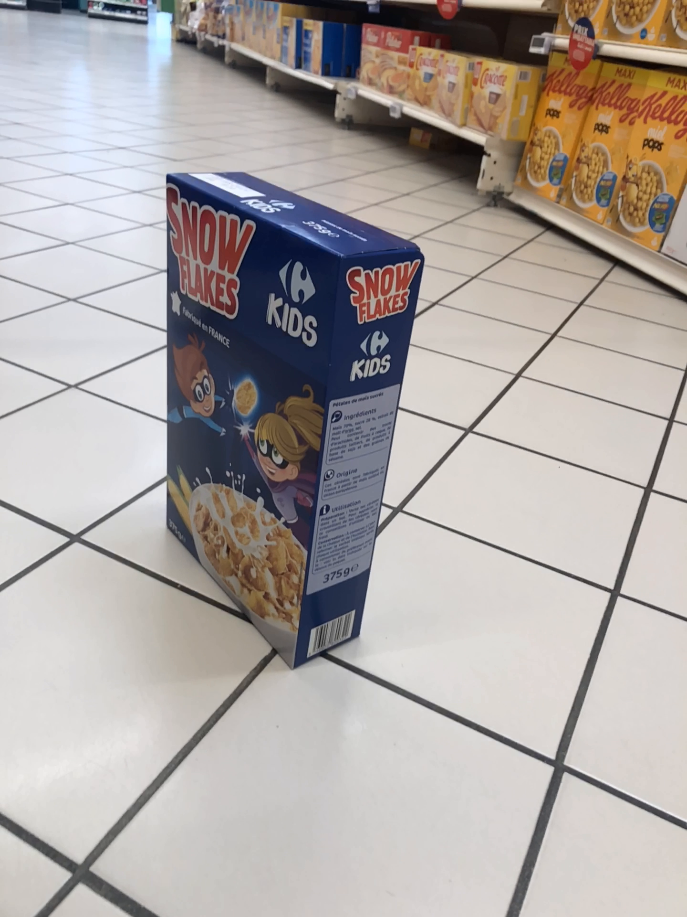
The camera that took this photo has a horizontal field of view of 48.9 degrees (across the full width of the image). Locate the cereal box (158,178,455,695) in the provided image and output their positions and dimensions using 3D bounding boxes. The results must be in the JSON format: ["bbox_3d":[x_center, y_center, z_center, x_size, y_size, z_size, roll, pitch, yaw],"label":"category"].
[{"bbox_3d":[-0.047,-0.022,0.523,0.080,0.288,0.200,-15,36,-35],"label":"cereal box"}]
